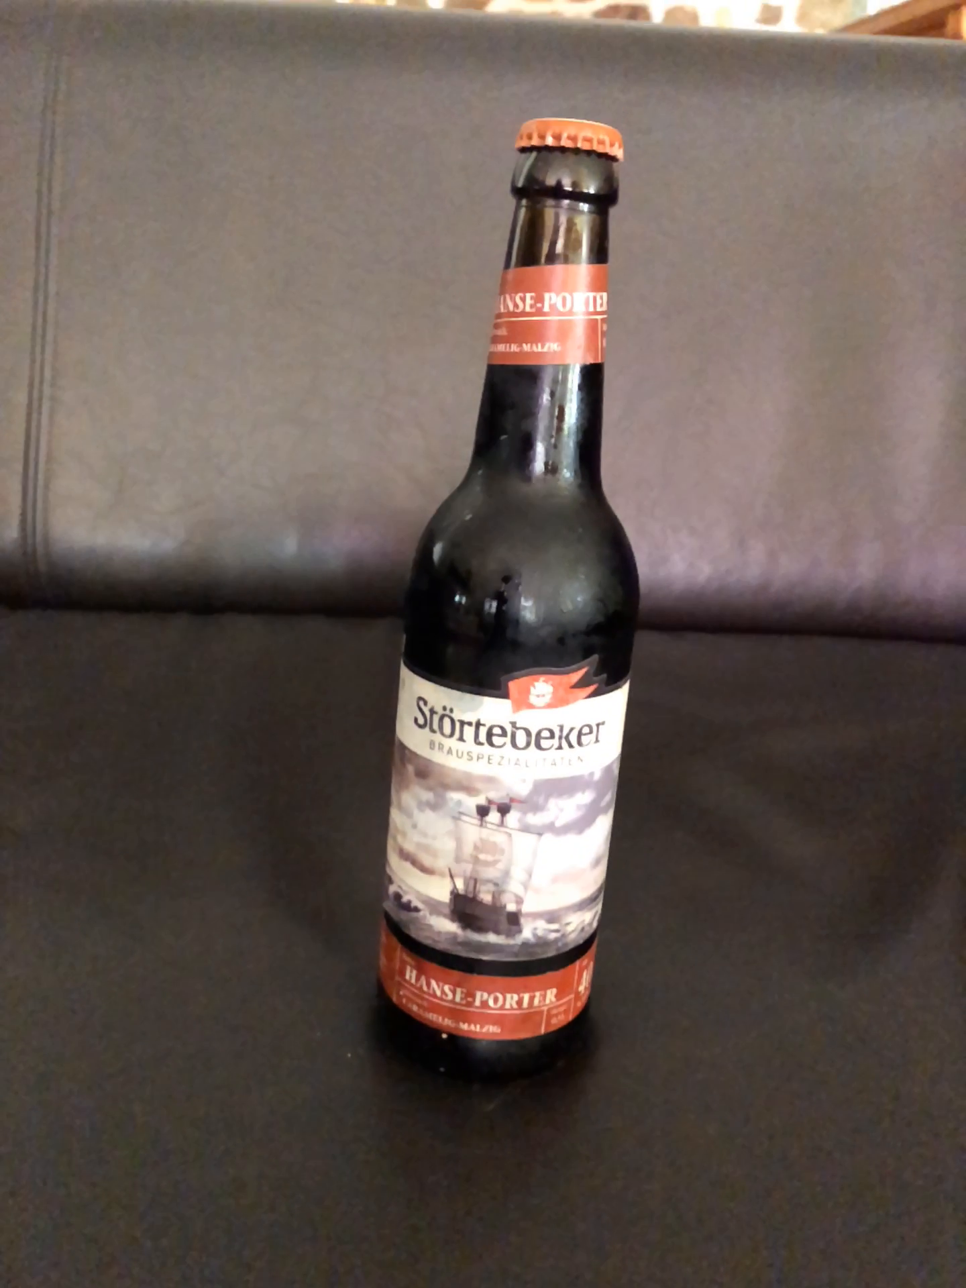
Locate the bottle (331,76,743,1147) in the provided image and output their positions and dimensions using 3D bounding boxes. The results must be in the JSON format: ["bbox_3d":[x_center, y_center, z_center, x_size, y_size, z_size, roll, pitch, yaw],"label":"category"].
[{"bbox_3d":[0.013,-0.003,0.314,0.080,0.279,0.080,4,19,-1],"label":"bottle"}]
